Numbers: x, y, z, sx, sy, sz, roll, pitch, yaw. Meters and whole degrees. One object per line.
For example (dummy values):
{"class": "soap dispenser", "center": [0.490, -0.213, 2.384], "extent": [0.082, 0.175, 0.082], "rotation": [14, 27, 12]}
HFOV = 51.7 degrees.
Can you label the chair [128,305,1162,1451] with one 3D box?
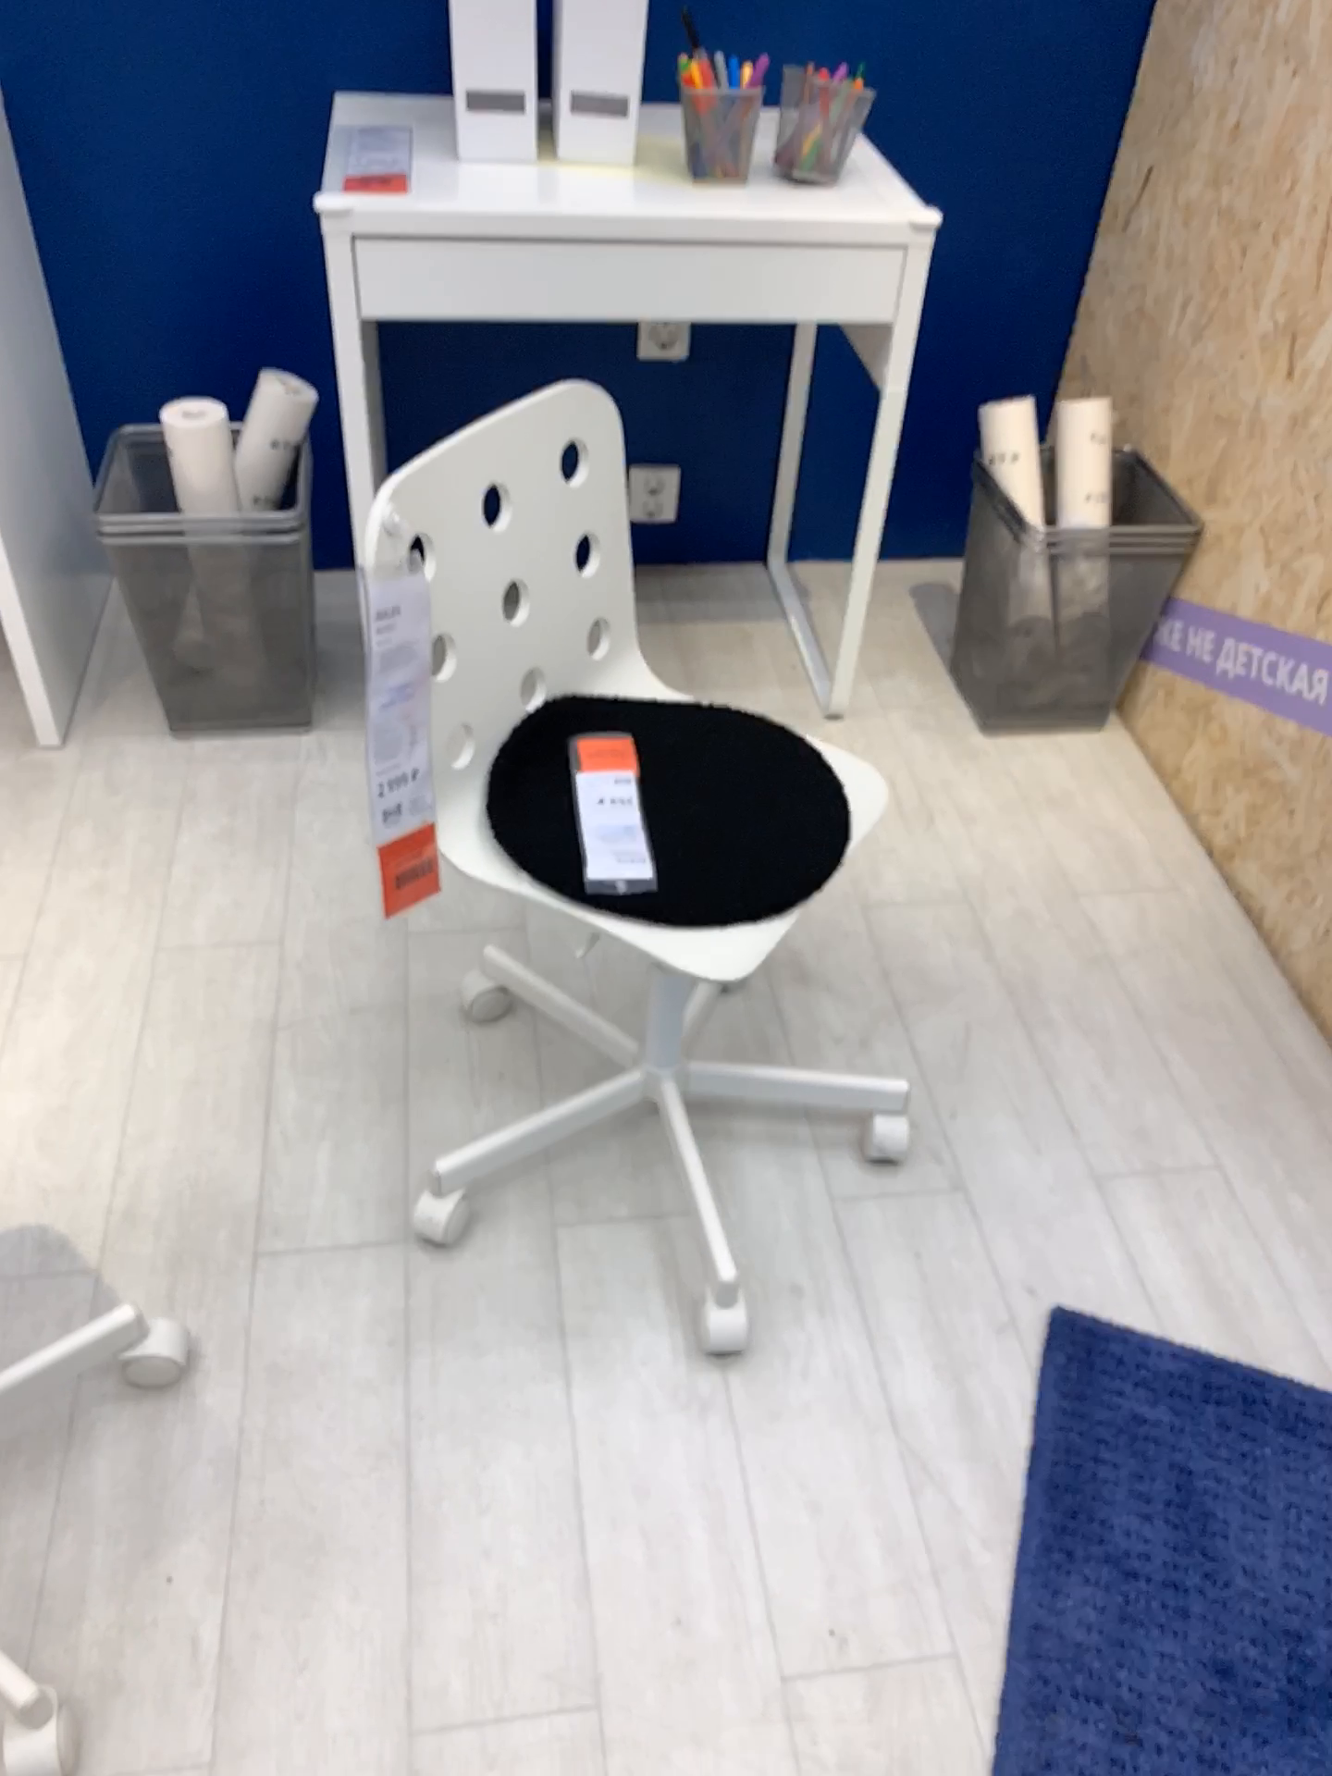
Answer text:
{"class": "chair", "center": [0.001, -0.030, 1.319], "extent": [0.590, 0.736, 0.603], "rotation": [22, 45, 18]}
